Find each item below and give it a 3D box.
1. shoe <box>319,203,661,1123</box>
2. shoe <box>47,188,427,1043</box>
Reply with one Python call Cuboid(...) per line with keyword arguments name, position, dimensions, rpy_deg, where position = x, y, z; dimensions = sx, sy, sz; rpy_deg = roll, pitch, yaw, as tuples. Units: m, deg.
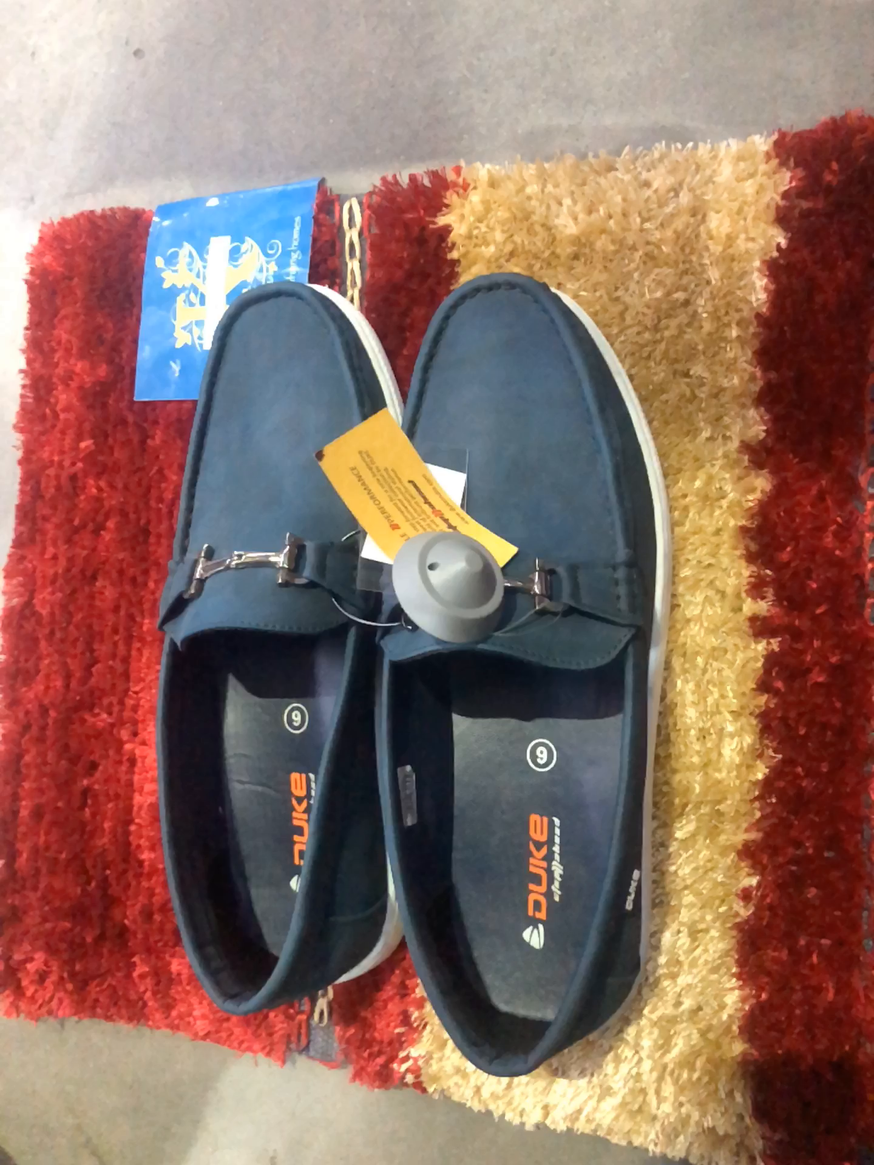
Cuboid(name="shoe", position=(0.025, 0.023, 0.354), dimensions=(0.100, 0.090, 0.280), rpy_deg=(-1, 85, 19))
Cuboid(name="shoe", position=(-0.071, 0.011, 0.377), dimensions=(0.110, 0.090, 0.280), rpy_deg=(-2, 85, 19))
